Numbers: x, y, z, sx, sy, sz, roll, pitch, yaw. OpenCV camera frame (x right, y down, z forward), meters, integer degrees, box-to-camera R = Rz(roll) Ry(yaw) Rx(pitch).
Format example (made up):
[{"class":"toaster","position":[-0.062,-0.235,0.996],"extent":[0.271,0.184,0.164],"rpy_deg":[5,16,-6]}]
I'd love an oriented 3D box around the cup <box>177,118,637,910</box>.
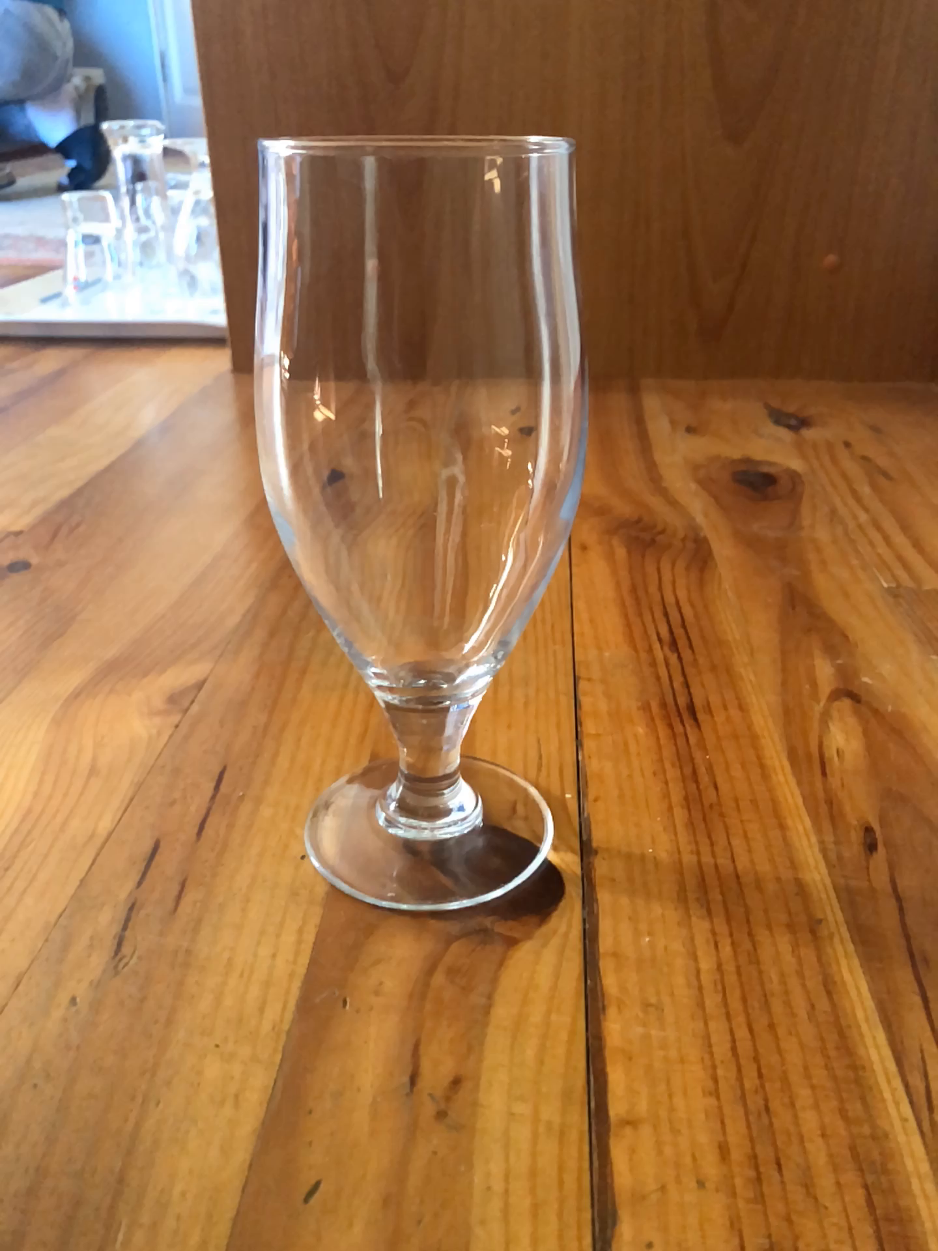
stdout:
[{"class":"cup","position":[-0.011,-0.026,0.266],"extent":[0.083,0.183,0.082],"rpy_deg":[0,27,0]}]
